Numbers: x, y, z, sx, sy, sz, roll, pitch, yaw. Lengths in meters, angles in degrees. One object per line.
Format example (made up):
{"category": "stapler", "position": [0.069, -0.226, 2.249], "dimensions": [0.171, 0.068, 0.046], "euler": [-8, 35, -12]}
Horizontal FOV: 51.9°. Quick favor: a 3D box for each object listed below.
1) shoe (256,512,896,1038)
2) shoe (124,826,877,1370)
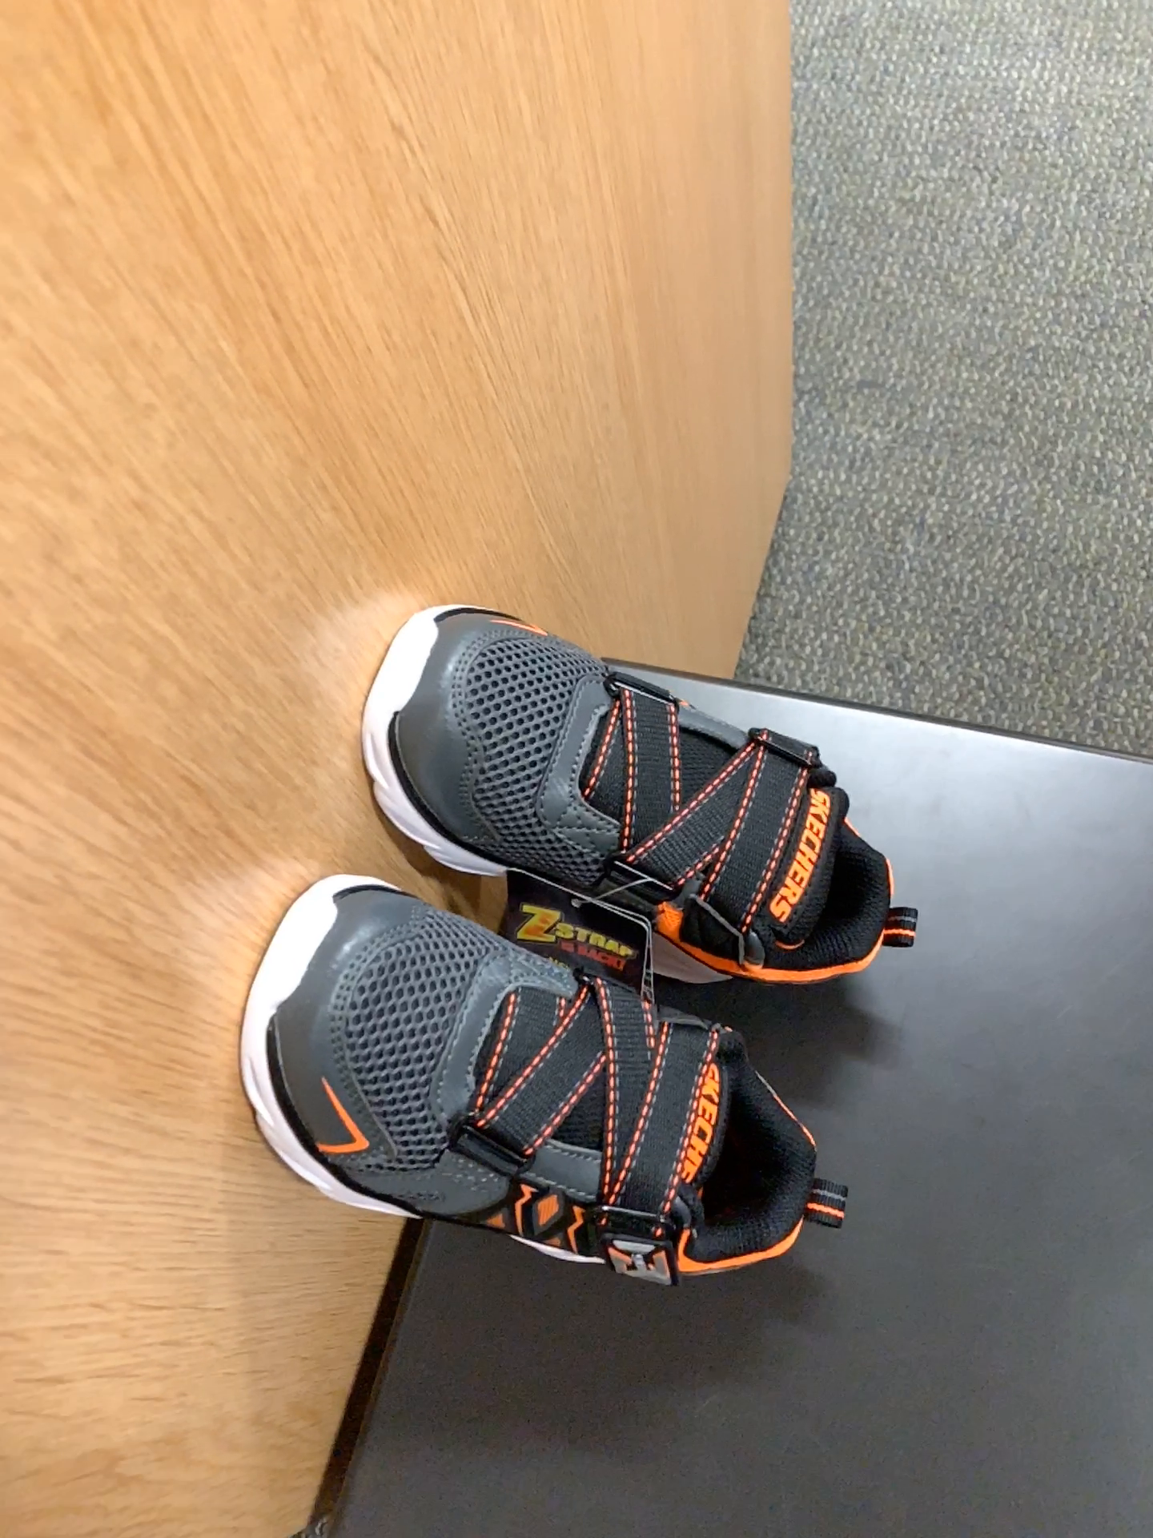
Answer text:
{"category": "shoe", "position": [0.008, 0.011, 0.399], "dimensions": [0.100, 0.180, 0.090], "euler": [-1, 62, 47]}
{"category": "shoe", "position": [-0.012, 0.096, 0.345], "dimensions": [0.100, 0.180, 0.090], "euler": [-1, 62, 47]}
